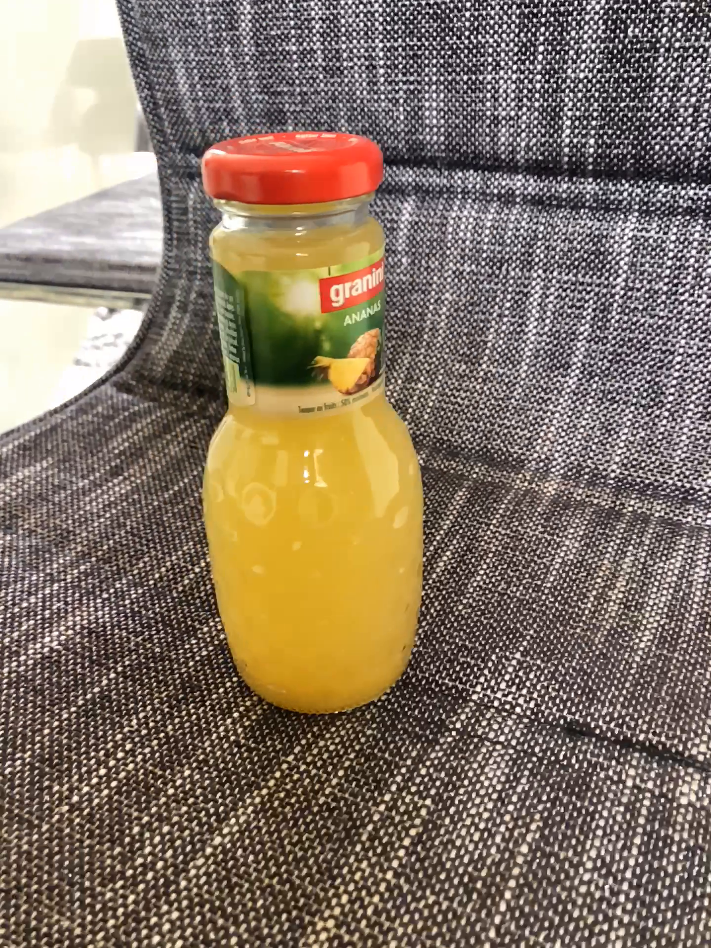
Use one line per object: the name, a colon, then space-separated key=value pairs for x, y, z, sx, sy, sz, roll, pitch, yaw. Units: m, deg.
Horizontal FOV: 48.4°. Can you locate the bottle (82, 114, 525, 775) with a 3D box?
bottle: x=-0.008 y=-0.010 z=0.213 sx=0.070 sy=0.149 sz=0.070 roll=-2 pitch=30 yaw=1
